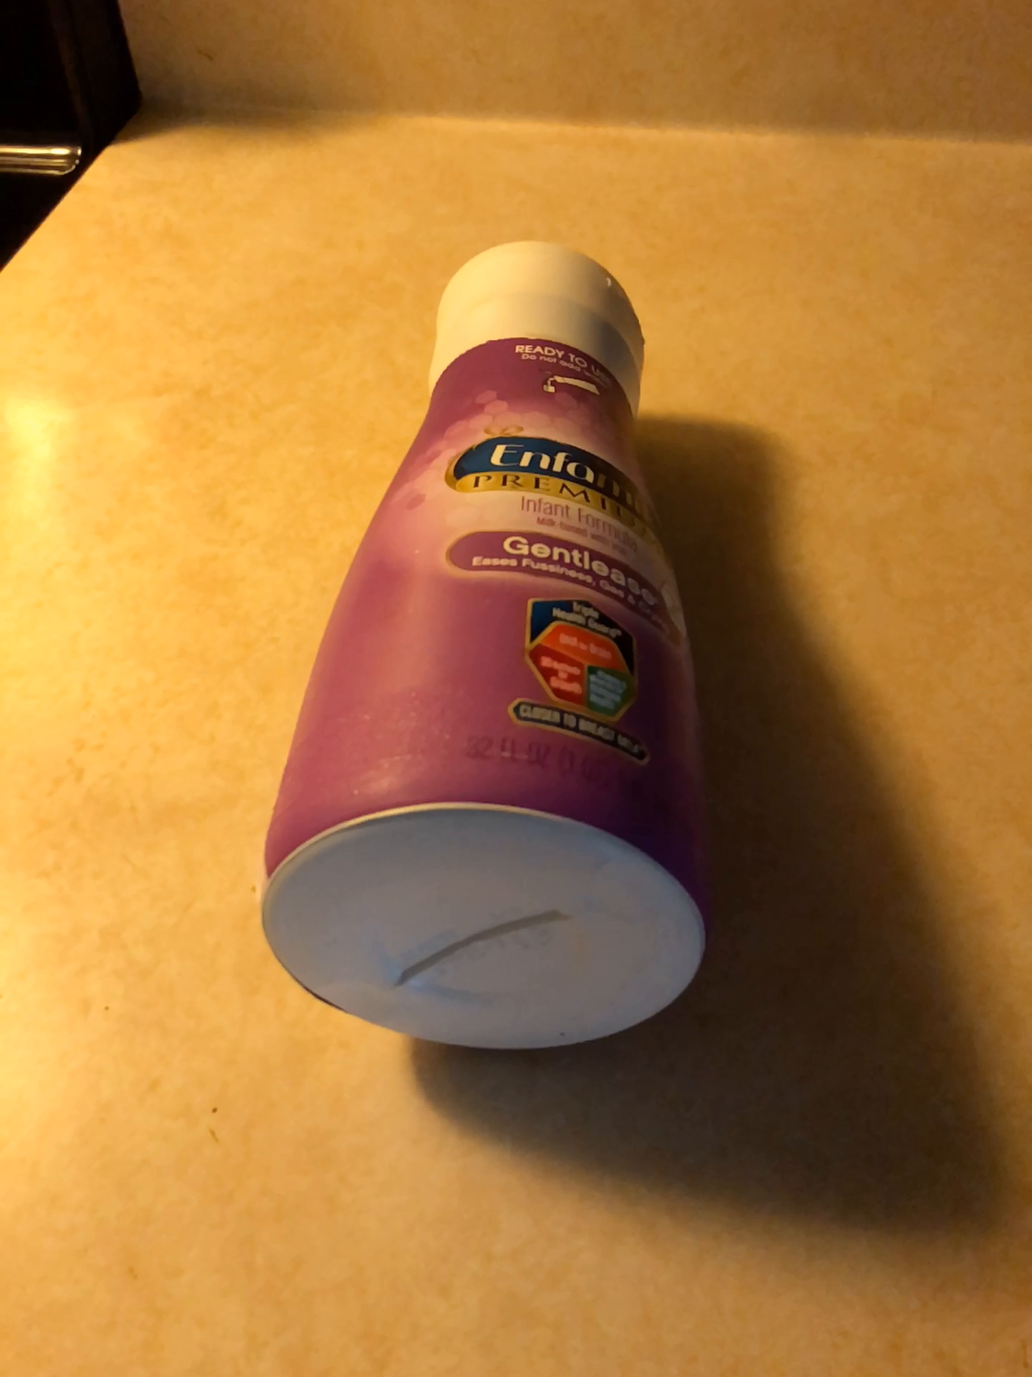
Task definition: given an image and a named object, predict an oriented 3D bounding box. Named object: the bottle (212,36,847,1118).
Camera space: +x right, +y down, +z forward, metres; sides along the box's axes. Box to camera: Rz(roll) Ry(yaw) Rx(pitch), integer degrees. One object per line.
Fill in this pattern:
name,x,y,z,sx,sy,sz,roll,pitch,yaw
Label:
bottle,0.007,-0.052,0.300,0.090,0.100,0.280,15,48,-9
